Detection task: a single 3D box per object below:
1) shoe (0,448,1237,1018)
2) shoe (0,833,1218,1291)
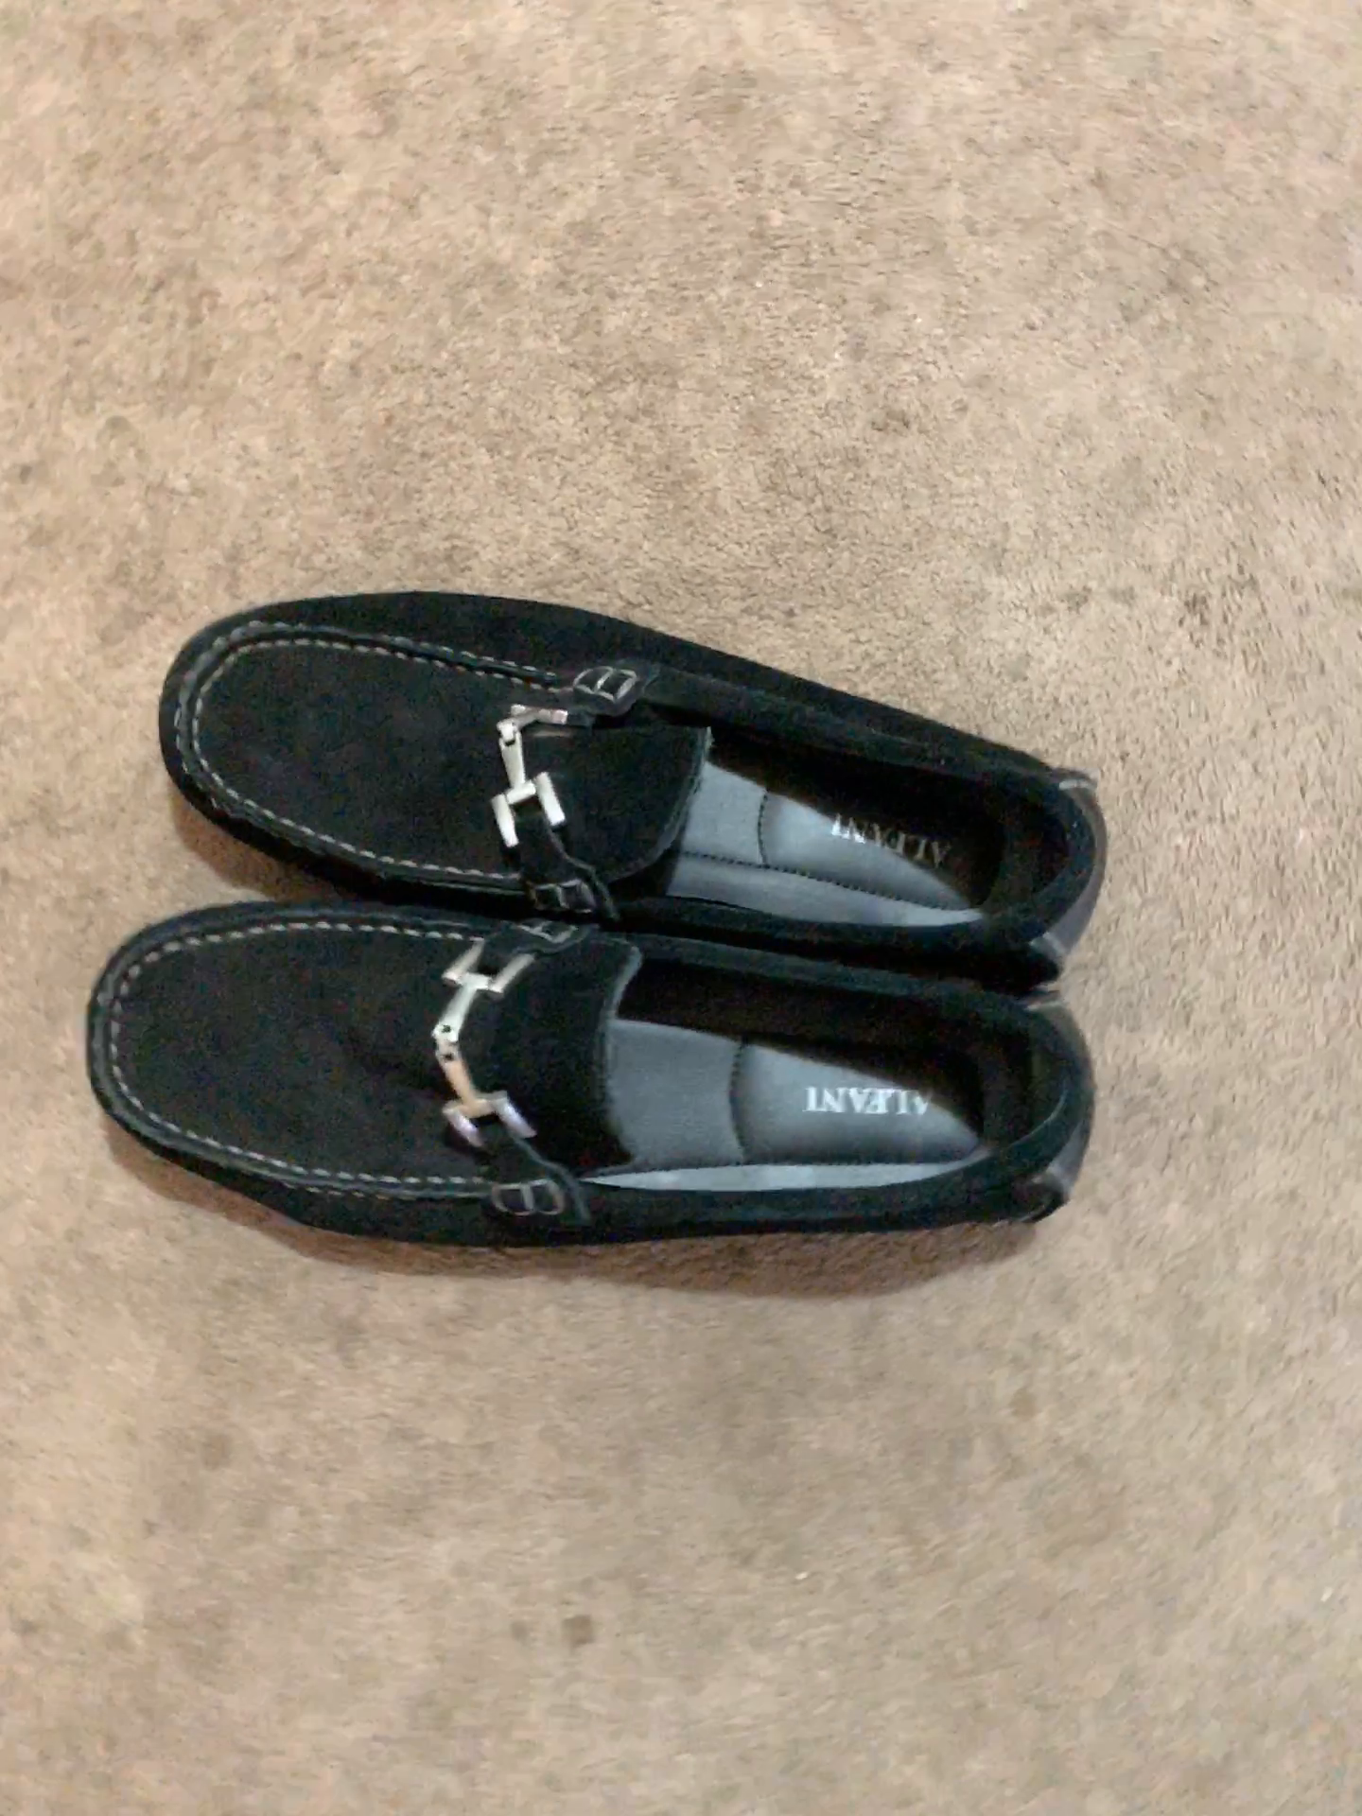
[{"bbox_3d":[-0.012,-0.040,0.396,0.300,0.100,0.100,6,78,-3],"label":"shoe"},{"bbox_3d":[-0.023,0.047,0.384,0.300,0.100,0.100,2,78,-4],"label":"shoe"}]
